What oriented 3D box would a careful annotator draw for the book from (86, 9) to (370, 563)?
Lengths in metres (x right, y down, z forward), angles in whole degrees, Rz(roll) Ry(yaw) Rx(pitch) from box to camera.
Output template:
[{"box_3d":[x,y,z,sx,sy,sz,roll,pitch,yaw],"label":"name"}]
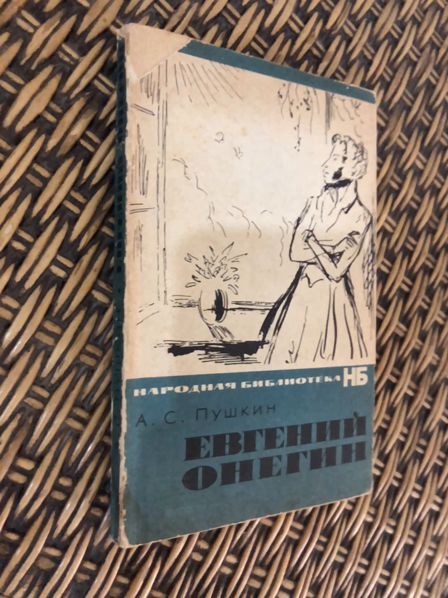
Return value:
[{"box_3d":[0.007,-0.004,0.209,0.120,0.020,0.190,1,89,-28],"label":"book"}]
